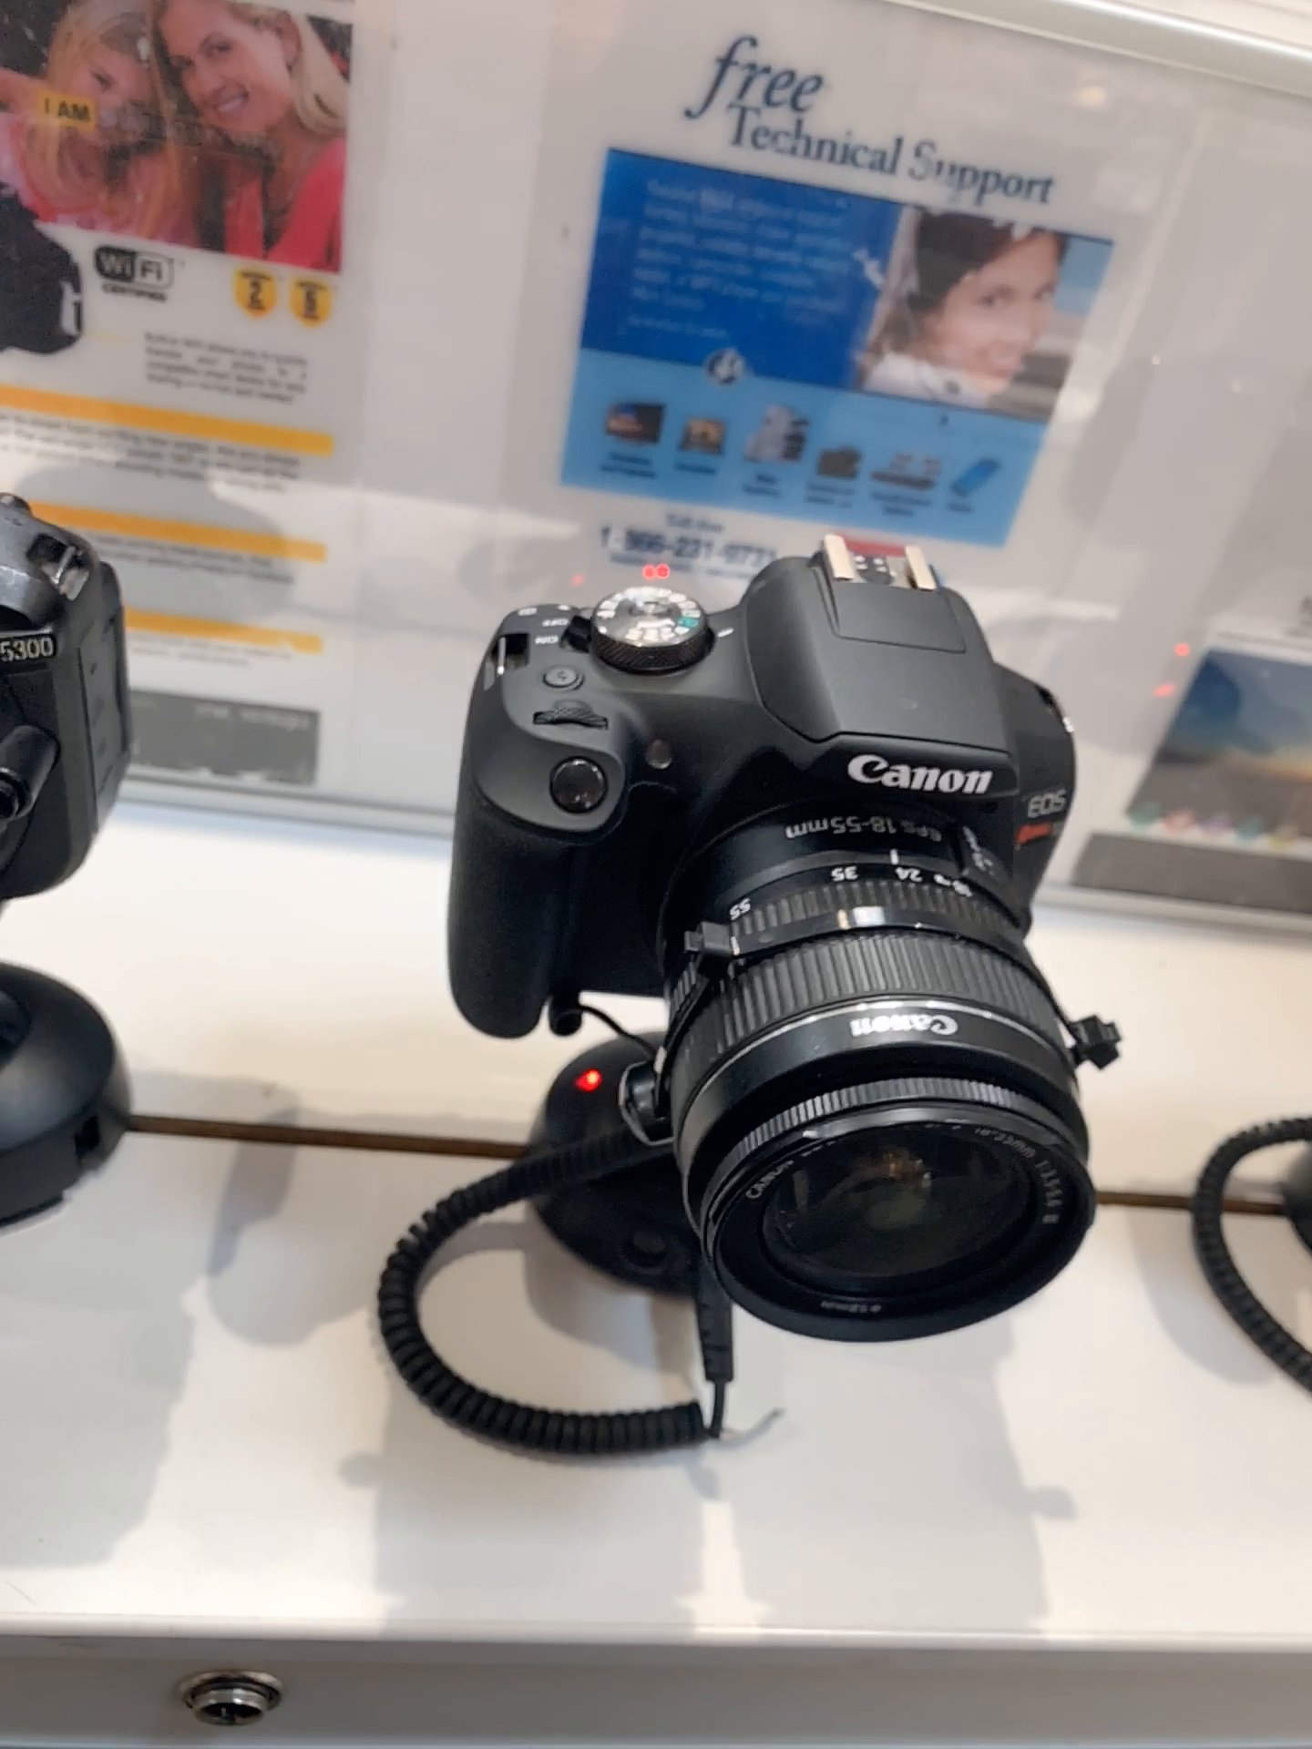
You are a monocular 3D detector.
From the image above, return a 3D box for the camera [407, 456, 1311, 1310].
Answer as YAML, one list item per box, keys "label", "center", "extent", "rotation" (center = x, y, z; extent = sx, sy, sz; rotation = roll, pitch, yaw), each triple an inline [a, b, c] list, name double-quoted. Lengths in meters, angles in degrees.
- label: "camera"
  center: [0.022, 0.002, 0.259]
  extent: [0.122, 0.104, 0.110]
  rotation: [5, 38, -12]
